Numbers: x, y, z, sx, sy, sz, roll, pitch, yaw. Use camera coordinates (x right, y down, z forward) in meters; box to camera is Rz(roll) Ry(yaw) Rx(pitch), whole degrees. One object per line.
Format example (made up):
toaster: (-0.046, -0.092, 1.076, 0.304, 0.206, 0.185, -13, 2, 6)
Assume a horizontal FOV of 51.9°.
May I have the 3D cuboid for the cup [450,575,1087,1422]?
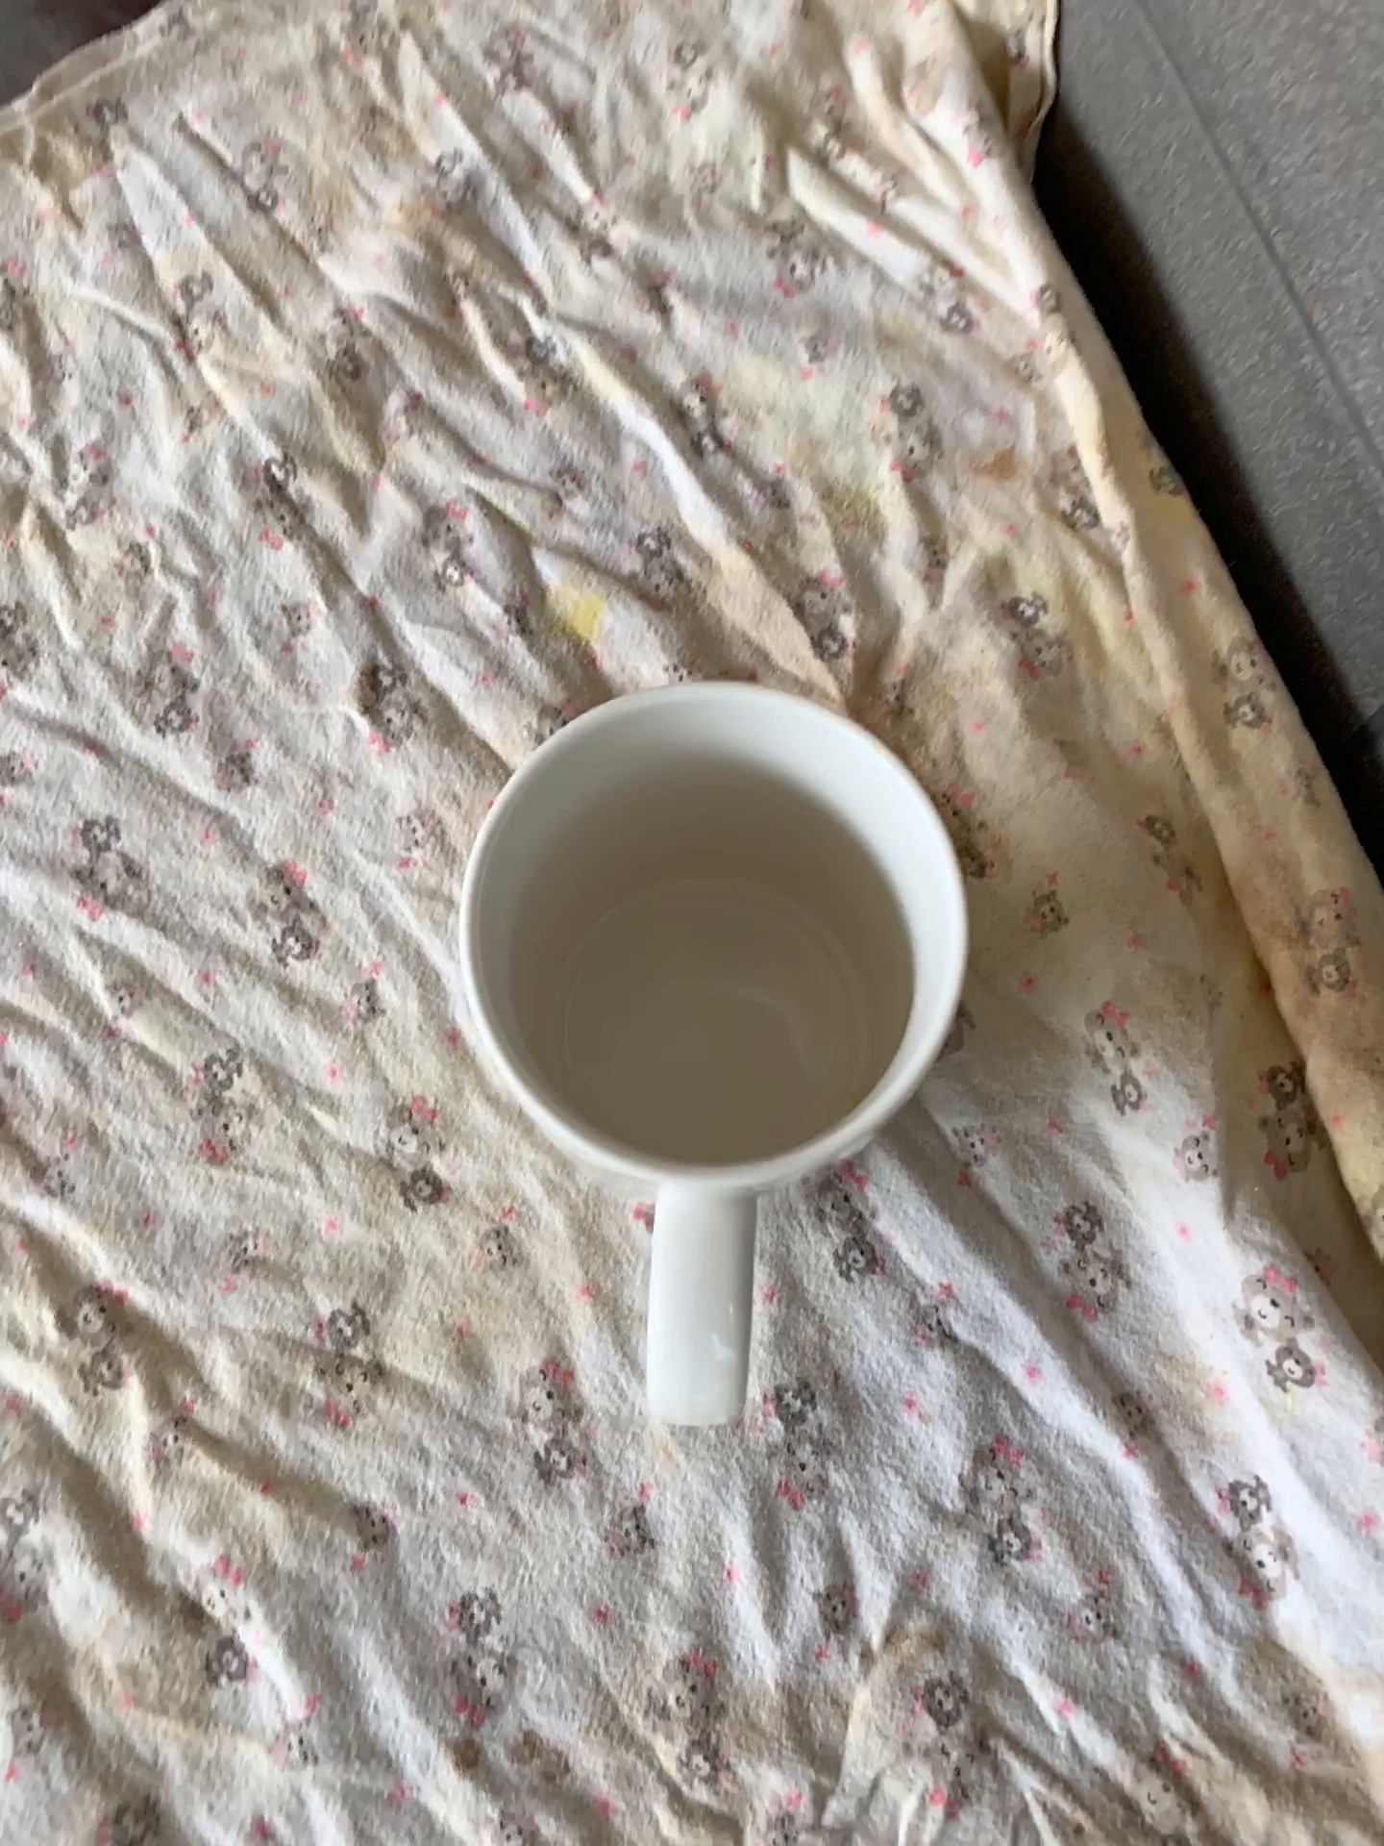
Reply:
cup: (0.008, 0.021, 0.273, 0.090, 0.110, 0.130, -3, 74, -1)
